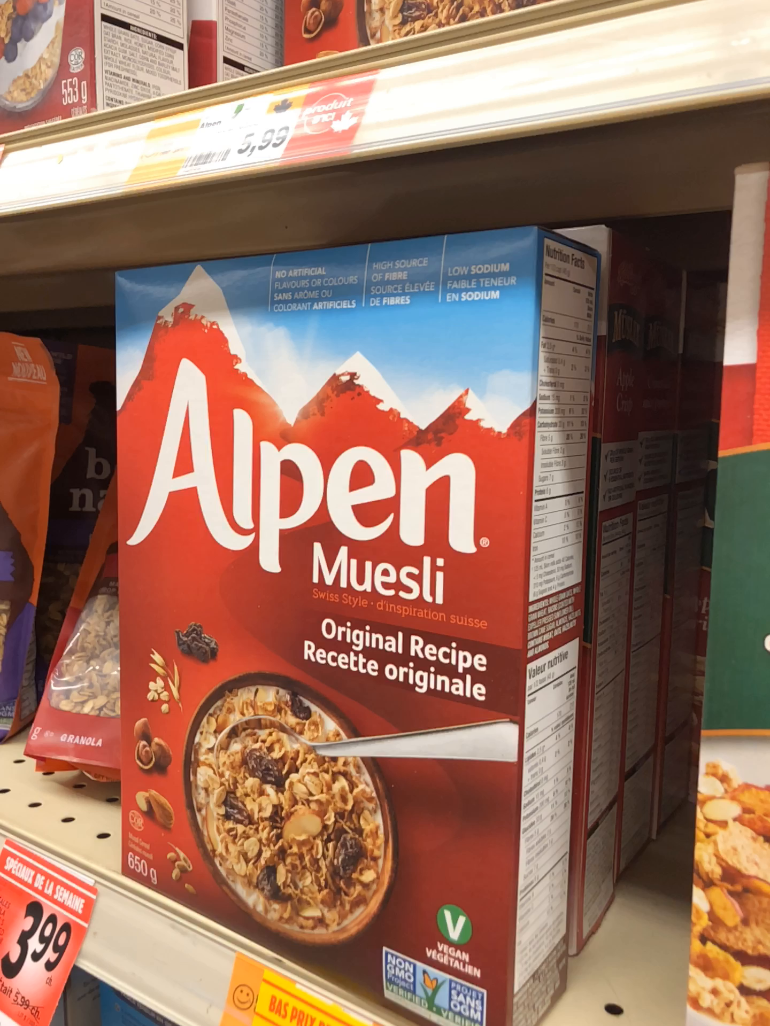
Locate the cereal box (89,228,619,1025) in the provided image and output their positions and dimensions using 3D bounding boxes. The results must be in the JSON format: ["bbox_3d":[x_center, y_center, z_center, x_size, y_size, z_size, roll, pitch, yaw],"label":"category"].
[{"bbox_3d":[-0.020,0.034,0.307,0.180,0.239,0.060,6,9,33],"label":"cereal box"}]
